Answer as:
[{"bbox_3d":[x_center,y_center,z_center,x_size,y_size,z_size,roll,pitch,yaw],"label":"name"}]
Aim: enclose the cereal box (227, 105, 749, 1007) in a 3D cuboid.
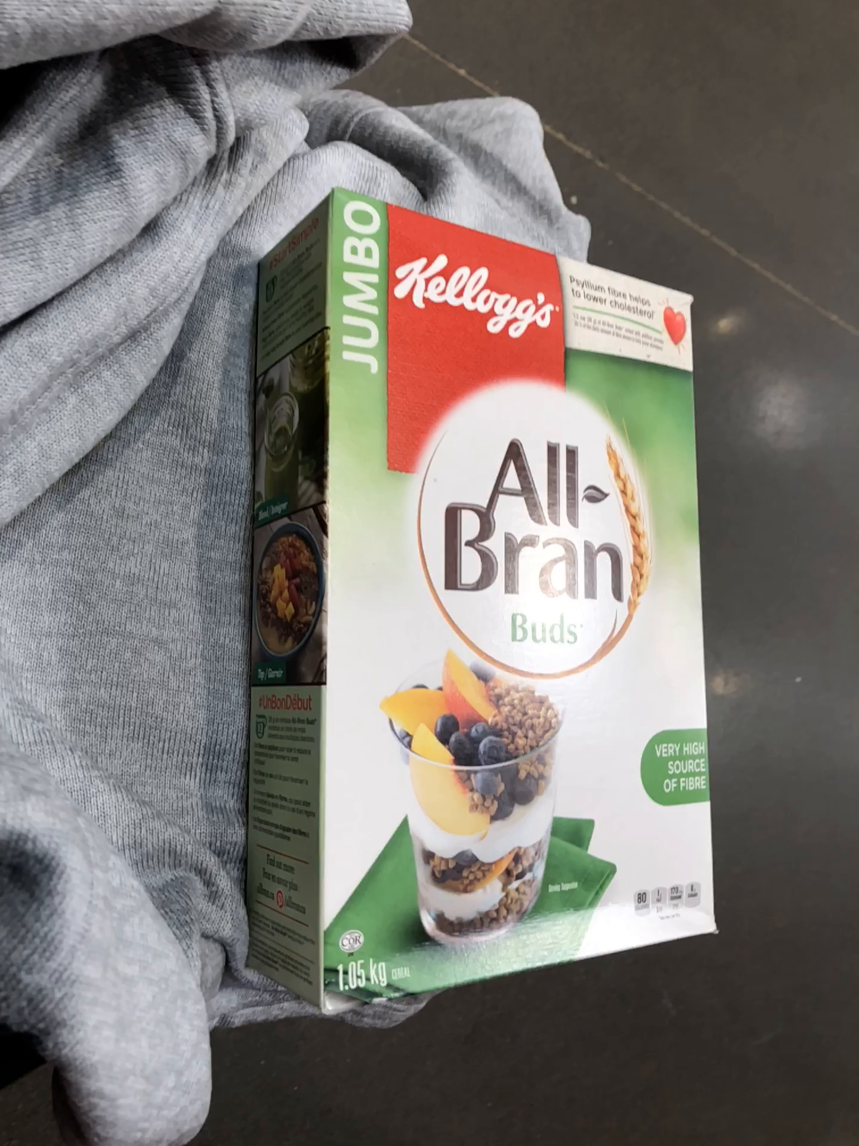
[{"bbox_3d":[0.025,-0.006,0.394,0.201,0.070,0.300,3,81,-31],"label":"cereal box"}]
